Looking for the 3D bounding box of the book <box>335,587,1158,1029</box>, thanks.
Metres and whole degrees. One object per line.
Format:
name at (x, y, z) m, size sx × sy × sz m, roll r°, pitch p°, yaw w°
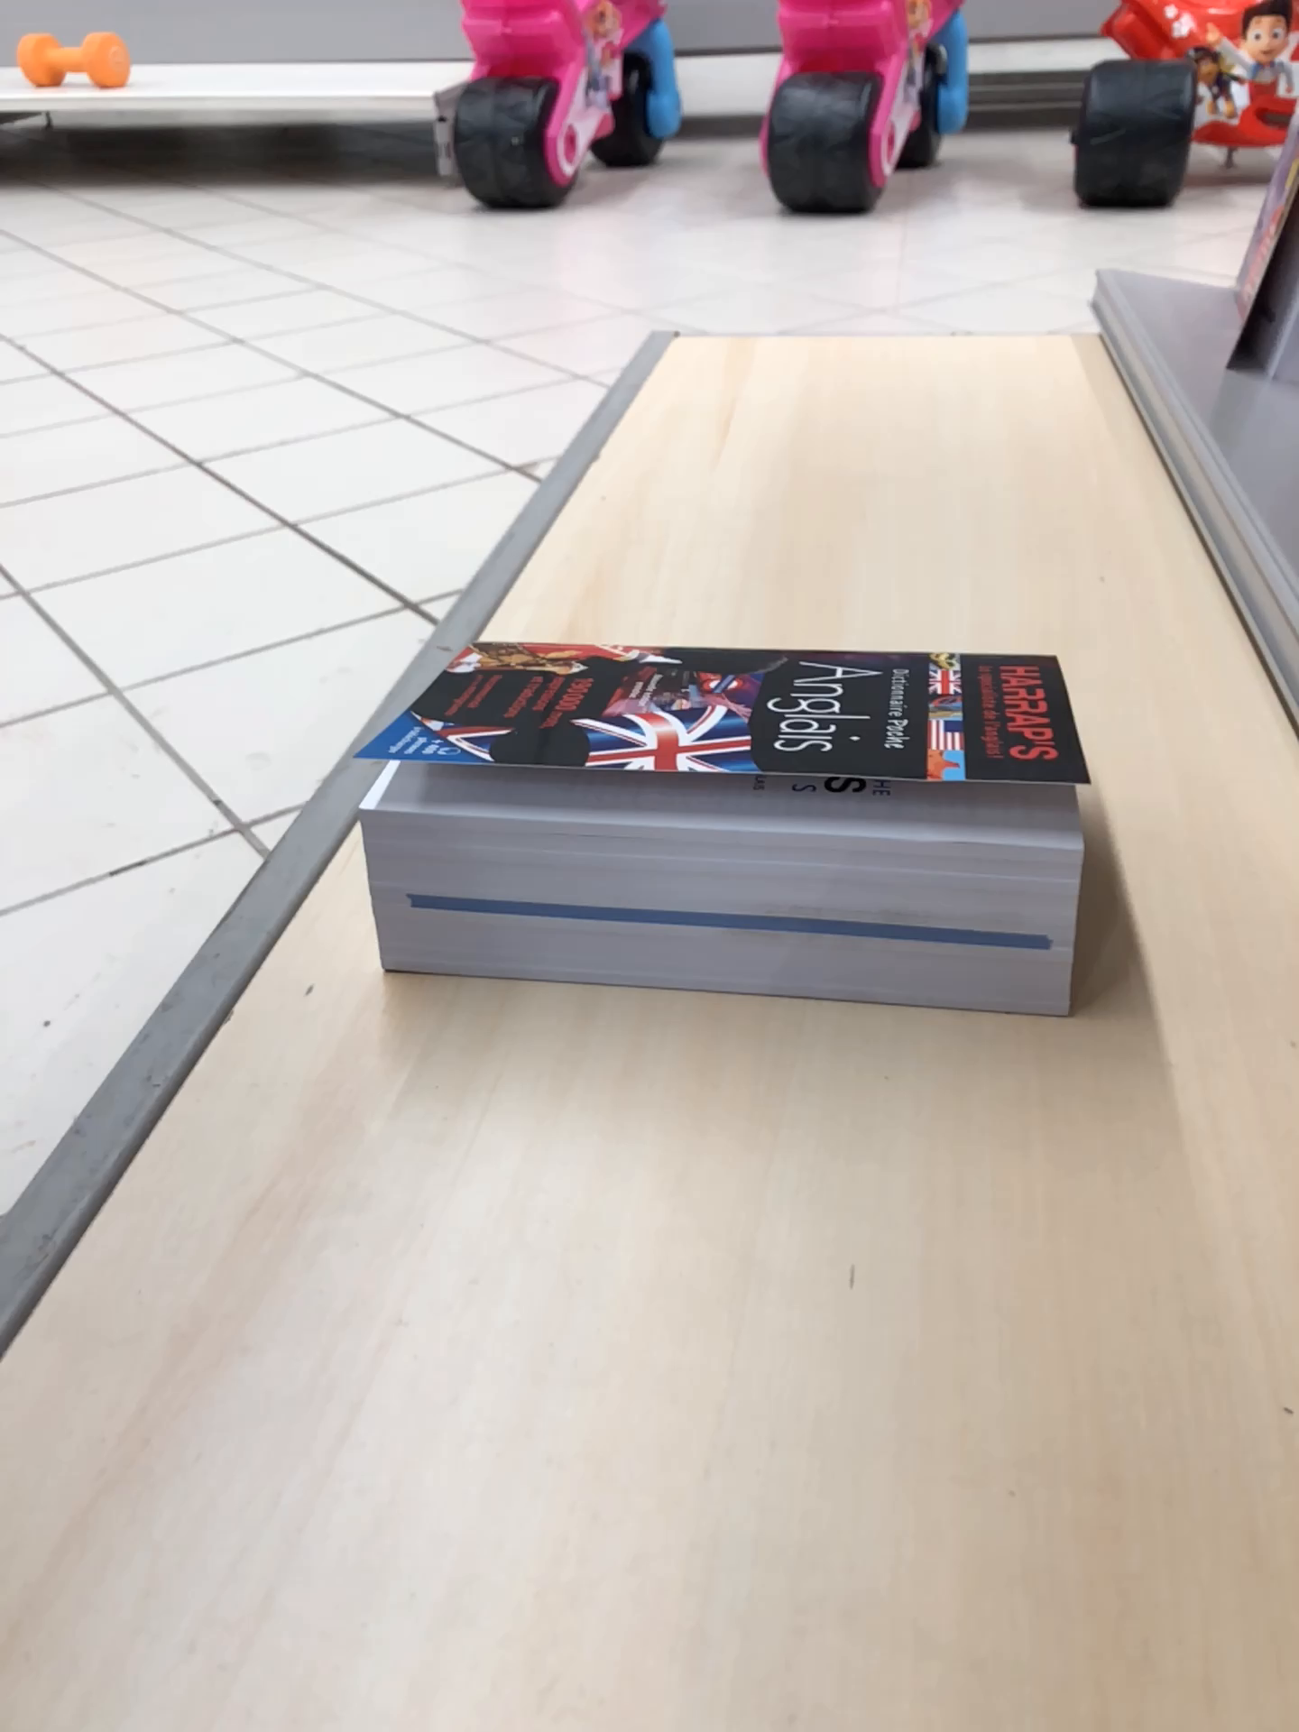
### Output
book at (0.028, -0.023, 0.377) m, size 0.181 × 0.057 × 0.116 m, roll 4°, pitch 32°, yaw 10°
